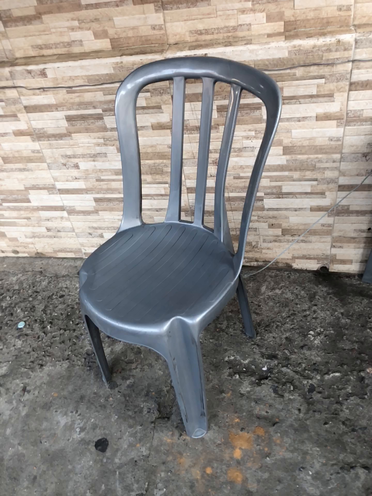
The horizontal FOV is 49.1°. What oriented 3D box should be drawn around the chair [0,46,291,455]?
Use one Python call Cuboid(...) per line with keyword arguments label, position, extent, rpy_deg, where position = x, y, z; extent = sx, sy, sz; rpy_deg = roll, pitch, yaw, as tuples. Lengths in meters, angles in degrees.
Cuboid(label="chair", position=(-0.051, 0.010, 1.048), extent=(0.441, 0.834, 0.502), rpy_deg=(19, 47, 30))
